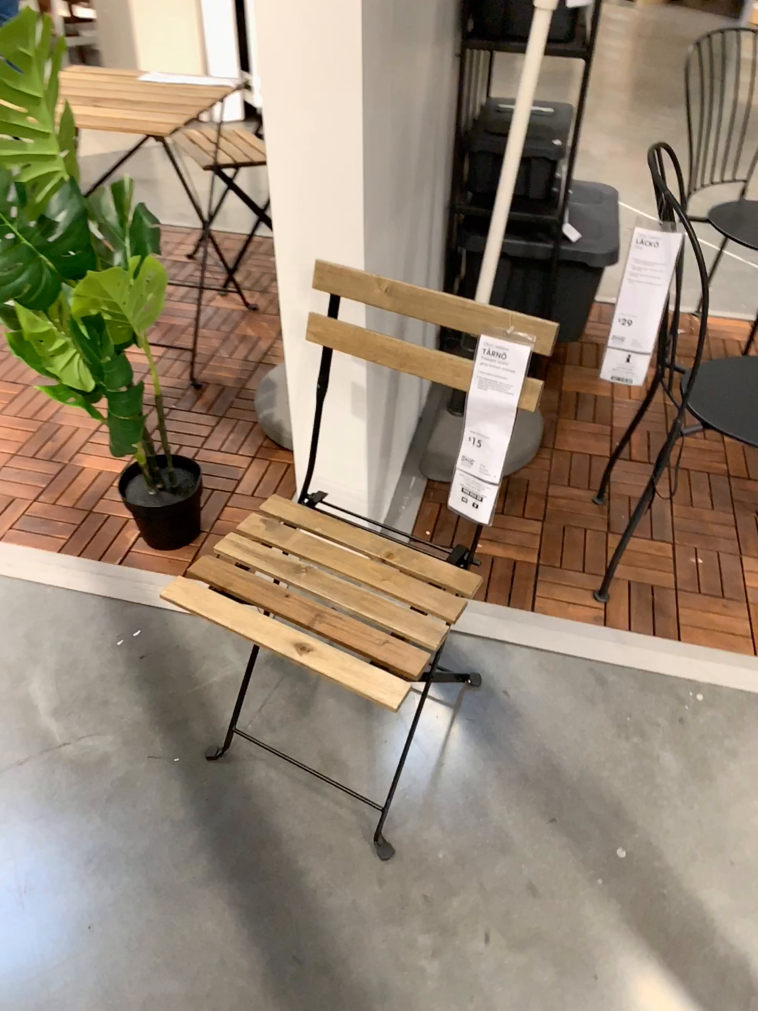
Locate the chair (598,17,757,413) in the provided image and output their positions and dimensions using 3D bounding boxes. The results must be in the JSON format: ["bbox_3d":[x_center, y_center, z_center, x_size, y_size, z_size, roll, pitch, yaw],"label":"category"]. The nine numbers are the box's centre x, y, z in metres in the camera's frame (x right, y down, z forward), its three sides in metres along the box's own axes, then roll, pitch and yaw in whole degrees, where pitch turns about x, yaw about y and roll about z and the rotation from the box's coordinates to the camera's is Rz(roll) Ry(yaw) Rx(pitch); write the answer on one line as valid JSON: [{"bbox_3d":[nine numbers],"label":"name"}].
[{"bbox_3d":[1.018,-0.788,2.116,0.379,0.831,0.548,-24,47,-27],"label":"chair"}]

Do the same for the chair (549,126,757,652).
[{"bbox_3d":[0.683,-0.195,1.461,0.556,0.821,0.400,10,41,10],"label":"chair"}]

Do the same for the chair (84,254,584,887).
[{"bbox_3d":[-0.034,0.098,1.167,0.409,0.721,0.478,21,45,22],"label":"chair"}]

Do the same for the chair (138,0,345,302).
[{"bbox_3d":[-0.457,-1.241,2.721,0.507,0.811,0.500,-18,44,-21],"label":"chair"}]
